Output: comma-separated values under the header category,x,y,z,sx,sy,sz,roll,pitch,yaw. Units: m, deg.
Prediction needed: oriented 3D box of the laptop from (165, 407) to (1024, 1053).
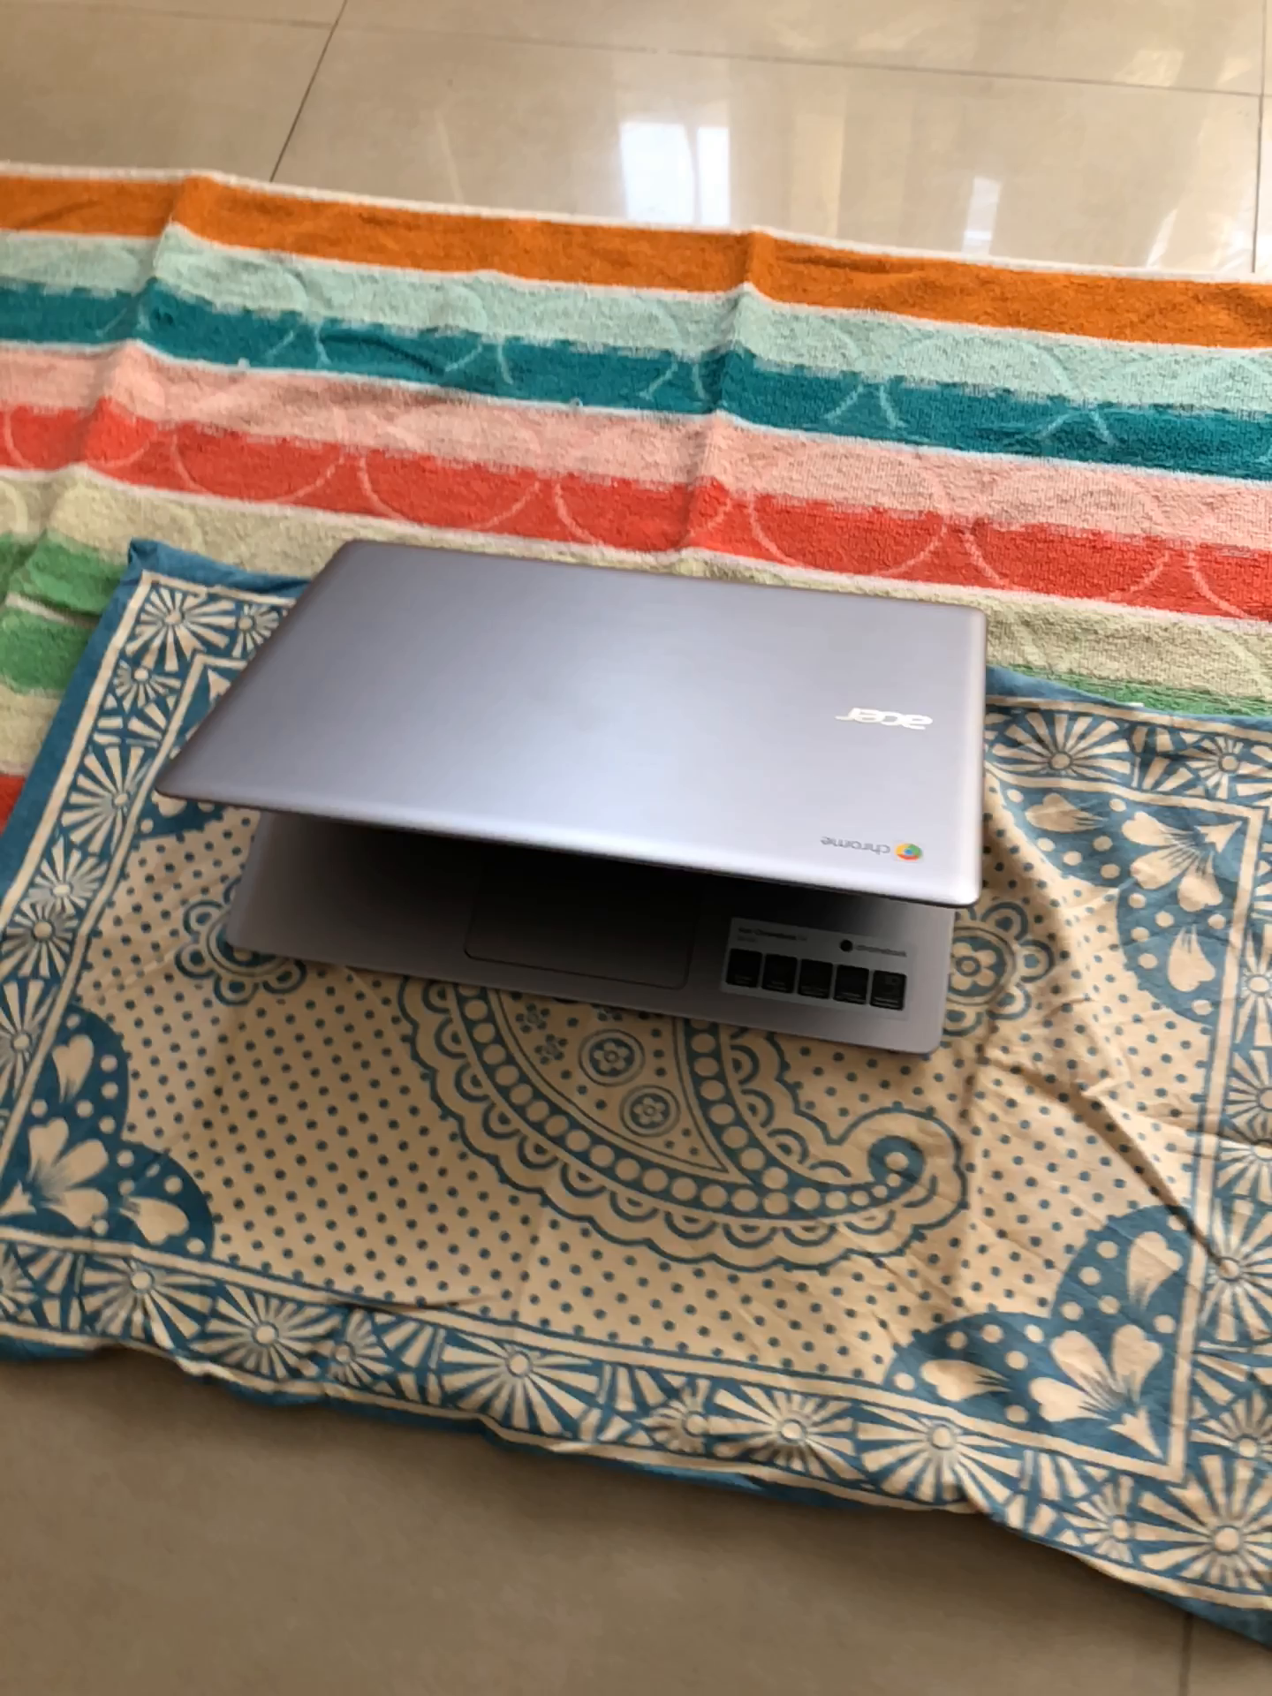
category,x,y,z,sx,sy,sz,roll,pitch,yaw
laptop,-0.008,-0.057,0.628,0.319,0.105,0.222,9,68,9
